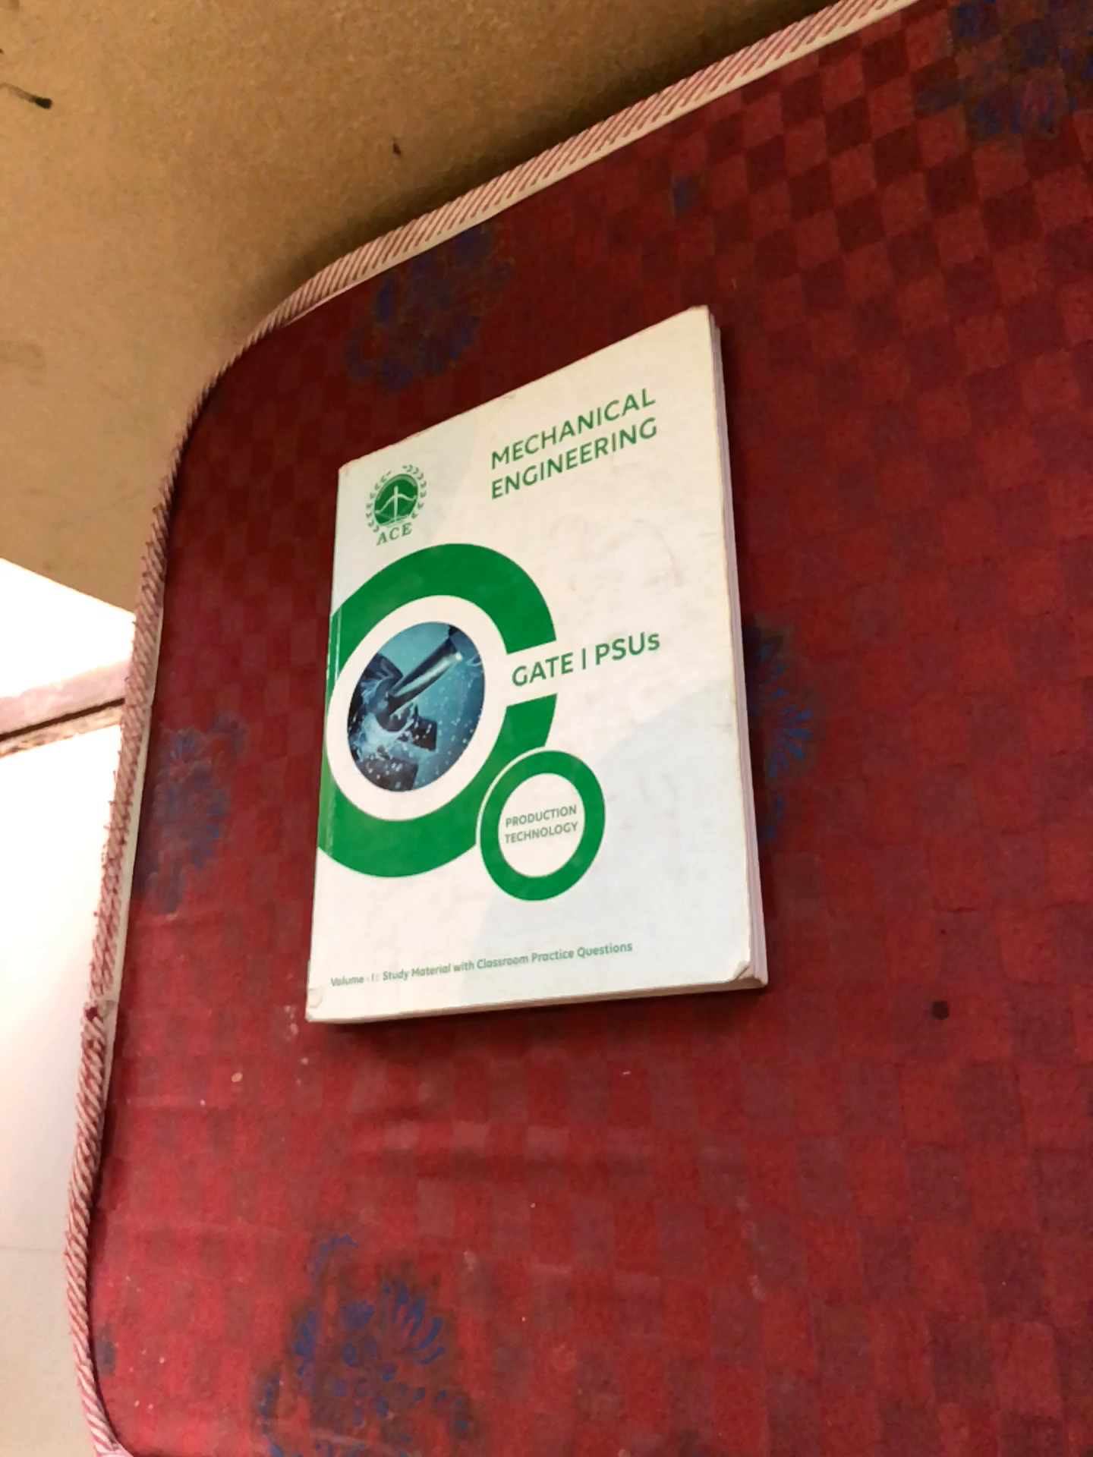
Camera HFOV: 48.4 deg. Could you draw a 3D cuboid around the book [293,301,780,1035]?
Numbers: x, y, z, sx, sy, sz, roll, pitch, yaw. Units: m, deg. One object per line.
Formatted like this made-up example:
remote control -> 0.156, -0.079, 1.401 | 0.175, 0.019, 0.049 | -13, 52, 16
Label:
book -> -0.013, -0.020, 0.521 | 0.211, 0.030, 0.280 | -14, 66, 32
